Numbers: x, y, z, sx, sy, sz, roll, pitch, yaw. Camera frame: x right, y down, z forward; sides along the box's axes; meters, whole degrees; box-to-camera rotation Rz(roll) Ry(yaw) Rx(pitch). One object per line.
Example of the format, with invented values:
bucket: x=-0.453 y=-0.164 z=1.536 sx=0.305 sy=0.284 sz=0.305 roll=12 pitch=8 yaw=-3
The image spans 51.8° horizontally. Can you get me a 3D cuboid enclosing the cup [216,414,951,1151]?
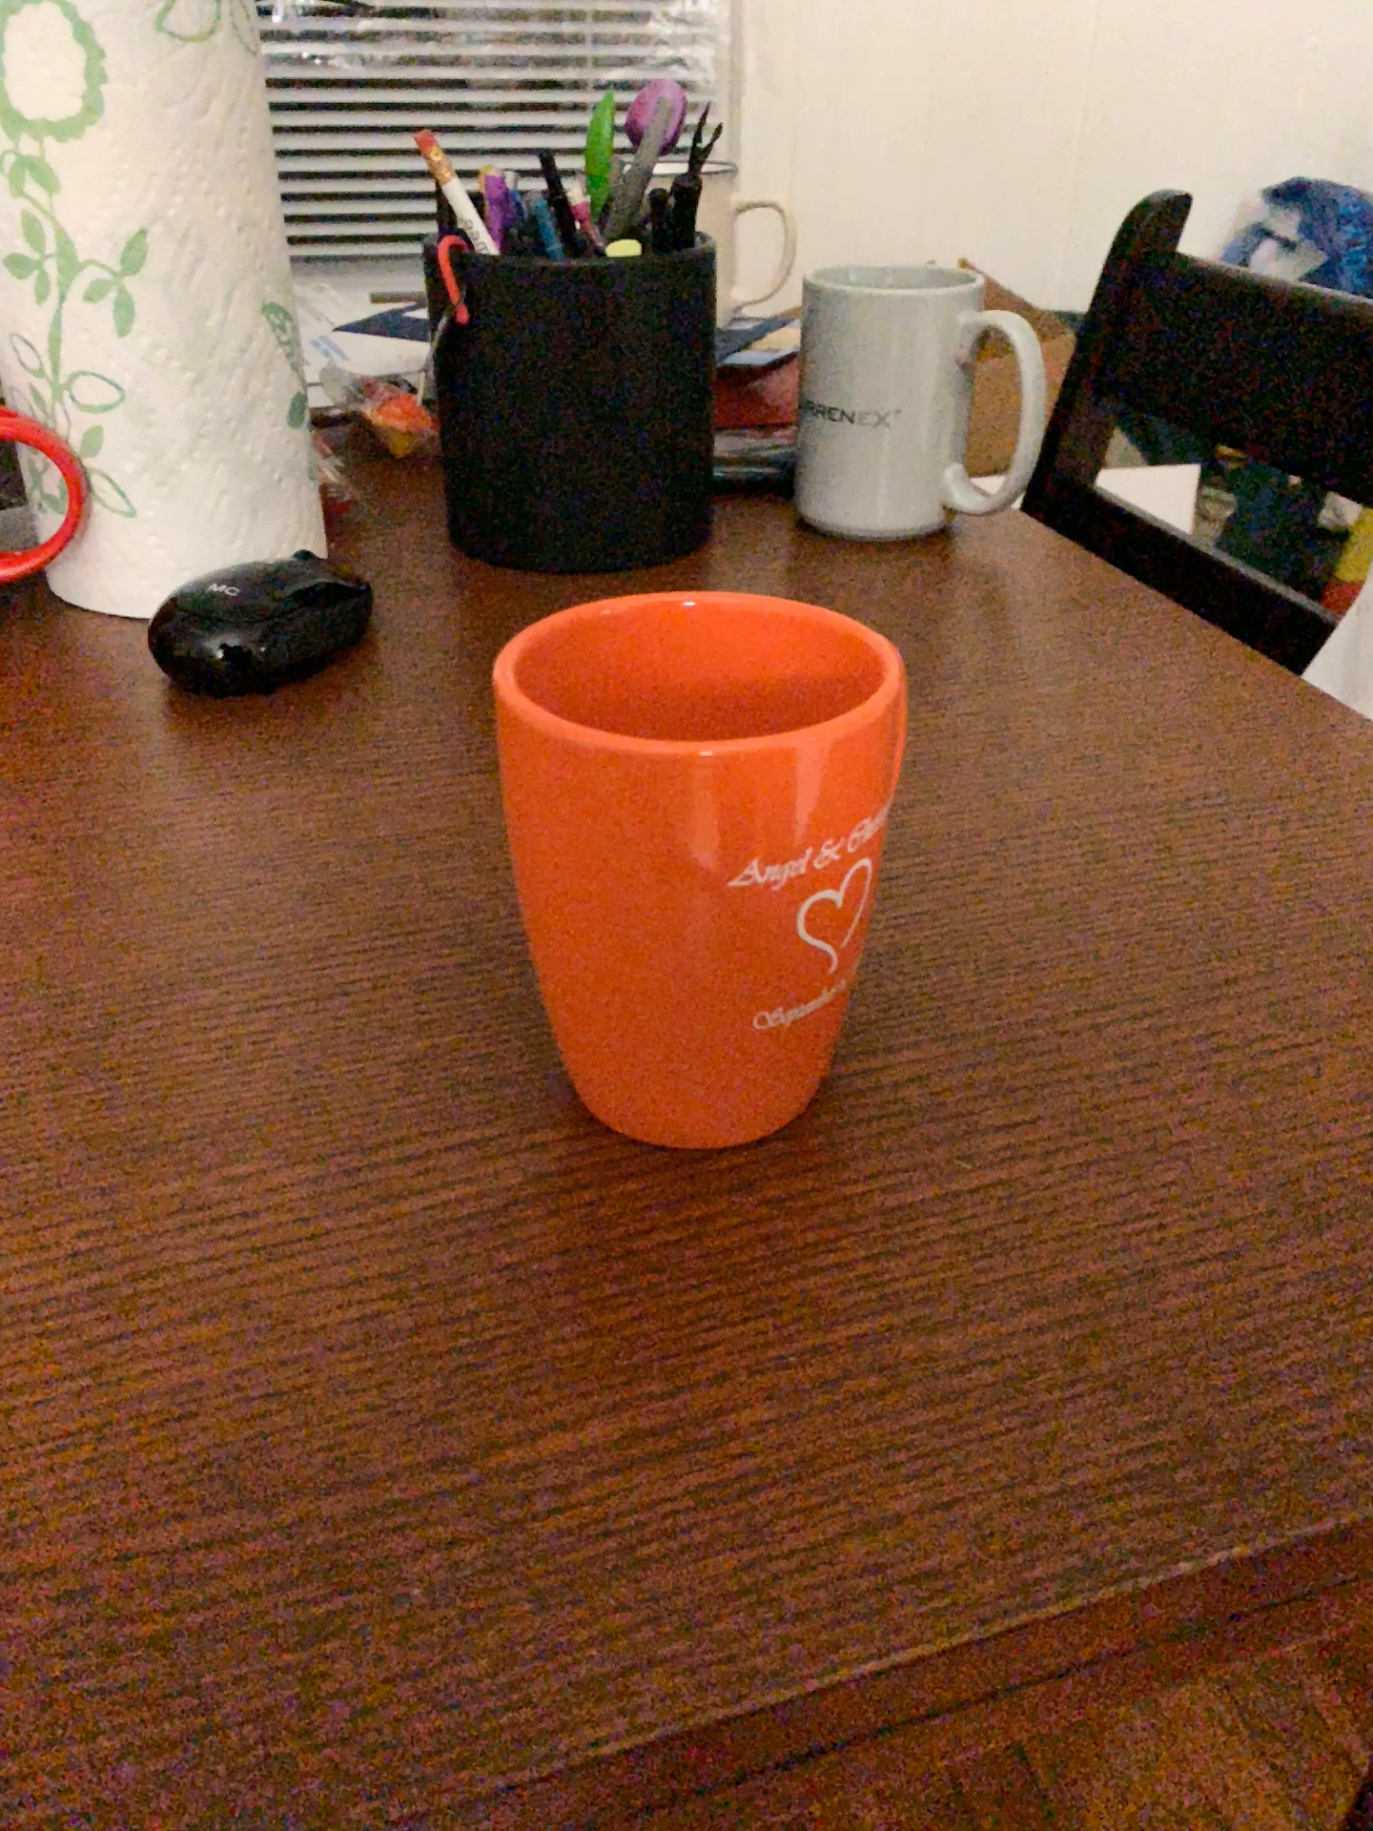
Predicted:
cup: x=-0.016 y=-0.042 z=0.332 sx=0.100 sy=0.109 sz=0.130 roll=19 pitch=37 yaw=27
